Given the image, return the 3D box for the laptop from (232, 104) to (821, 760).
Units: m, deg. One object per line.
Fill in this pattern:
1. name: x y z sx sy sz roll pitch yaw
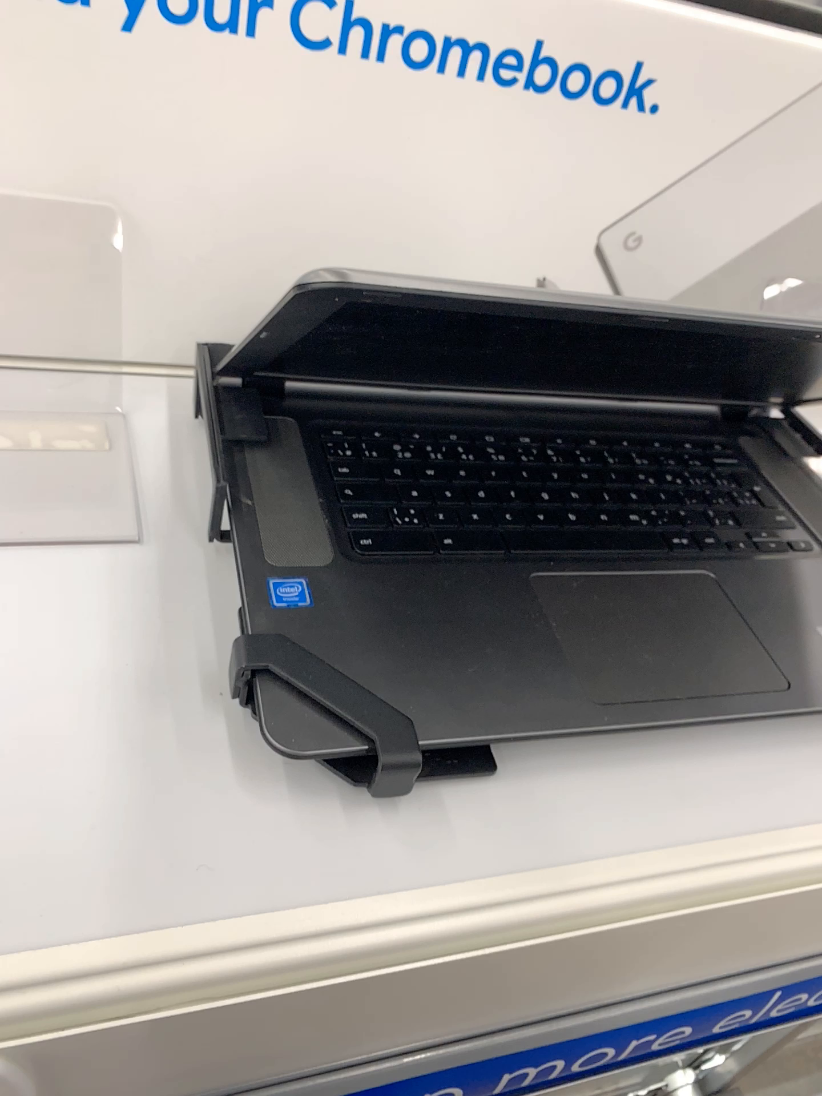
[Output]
1. laptop: 0.100 -0.050 0.326 0.301 0.116 0.194 0 43 -19
